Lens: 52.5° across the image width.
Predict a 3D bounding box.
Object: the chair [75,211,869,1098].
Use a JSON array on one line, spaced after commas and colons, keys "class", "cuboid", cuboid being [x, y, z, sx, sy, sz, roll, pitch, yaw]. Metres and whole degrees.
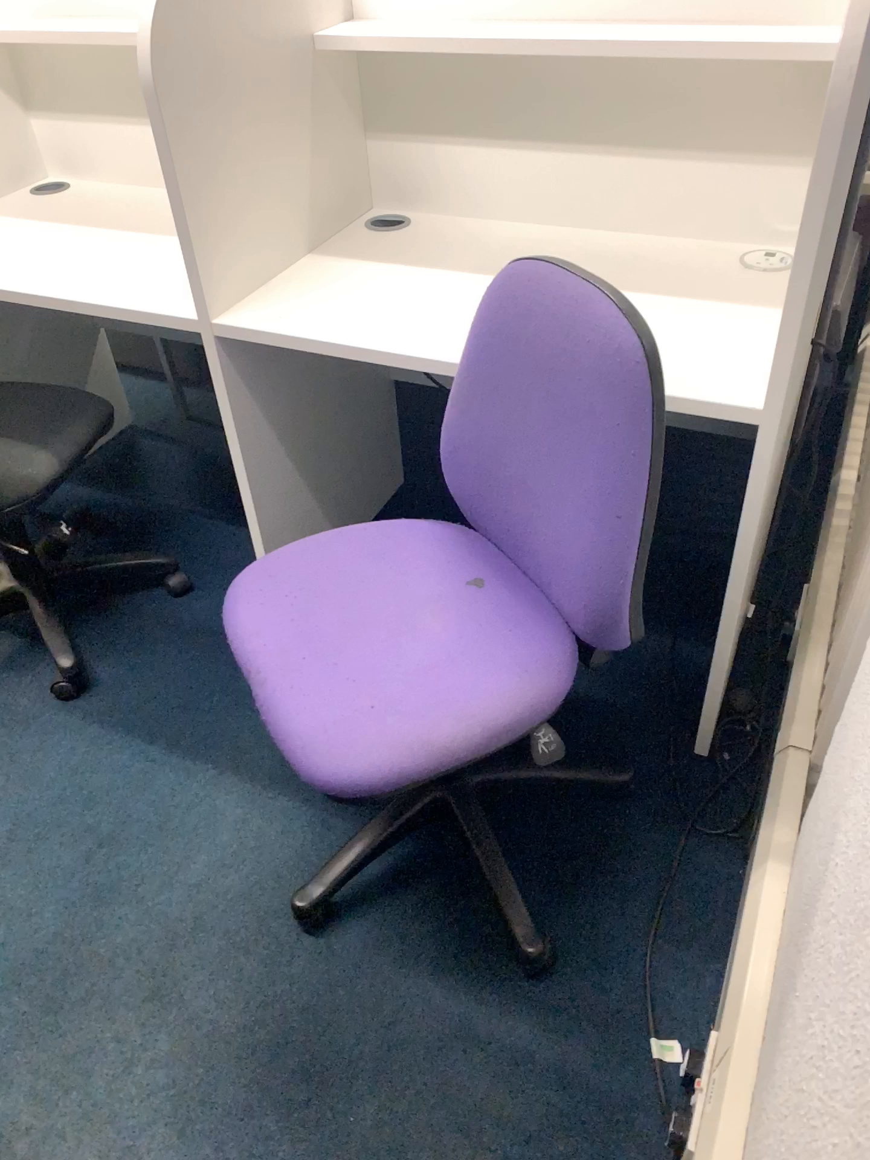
[{"class": "chair", "cuboid": [0.002, 0.070, 1.266, 0.651, 0.861, 0.696, -19, 42, -18]}]
